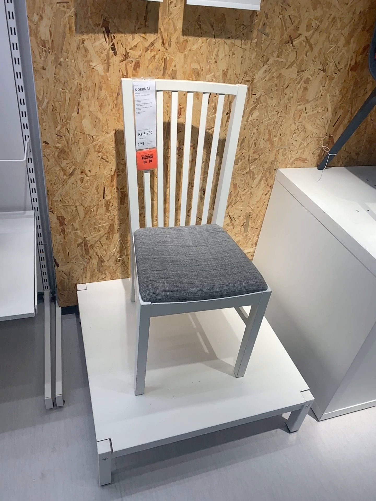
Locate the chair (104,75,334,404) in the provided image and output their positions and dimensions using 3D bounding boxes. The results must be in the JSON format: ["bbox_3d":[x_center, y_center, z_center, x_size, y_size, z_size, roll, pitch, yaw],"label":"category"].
[{"bbox_3d":[-0.015,-0.035,1.312,0.470,0.896,0.592,-4,38,-16],"label":"chair"}]
